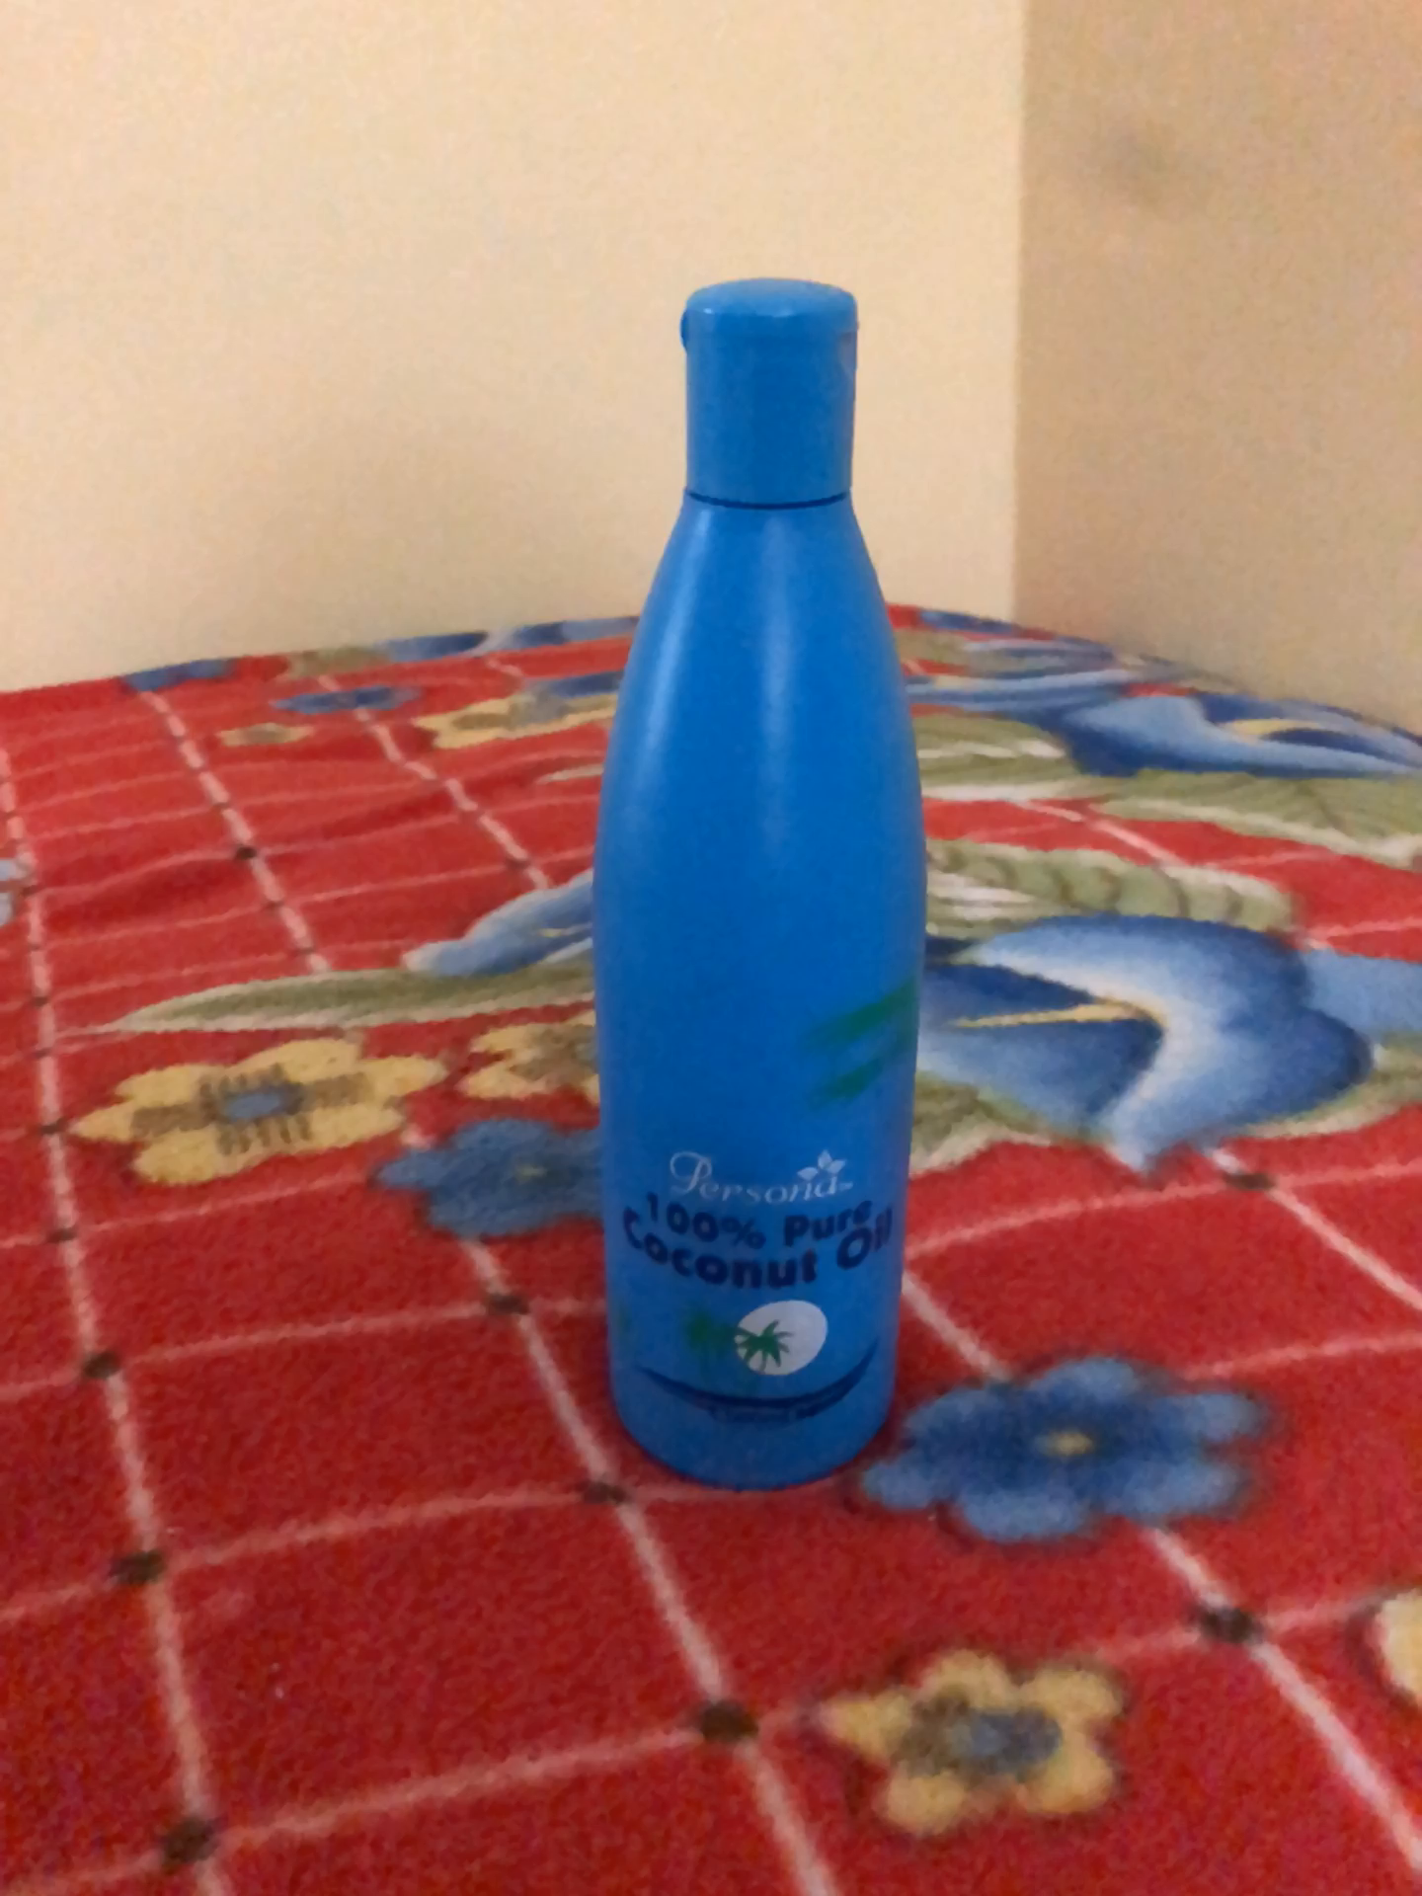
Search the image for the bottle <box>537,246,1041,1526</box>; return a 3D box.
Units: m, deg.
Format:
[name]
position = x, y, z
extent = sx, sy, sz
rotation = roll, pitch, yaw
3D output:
[bottle]
position = 0.010, -0.006, 0.300
extent = 0.070, 0.229, 0.070
rotation = -1, 25, 1
